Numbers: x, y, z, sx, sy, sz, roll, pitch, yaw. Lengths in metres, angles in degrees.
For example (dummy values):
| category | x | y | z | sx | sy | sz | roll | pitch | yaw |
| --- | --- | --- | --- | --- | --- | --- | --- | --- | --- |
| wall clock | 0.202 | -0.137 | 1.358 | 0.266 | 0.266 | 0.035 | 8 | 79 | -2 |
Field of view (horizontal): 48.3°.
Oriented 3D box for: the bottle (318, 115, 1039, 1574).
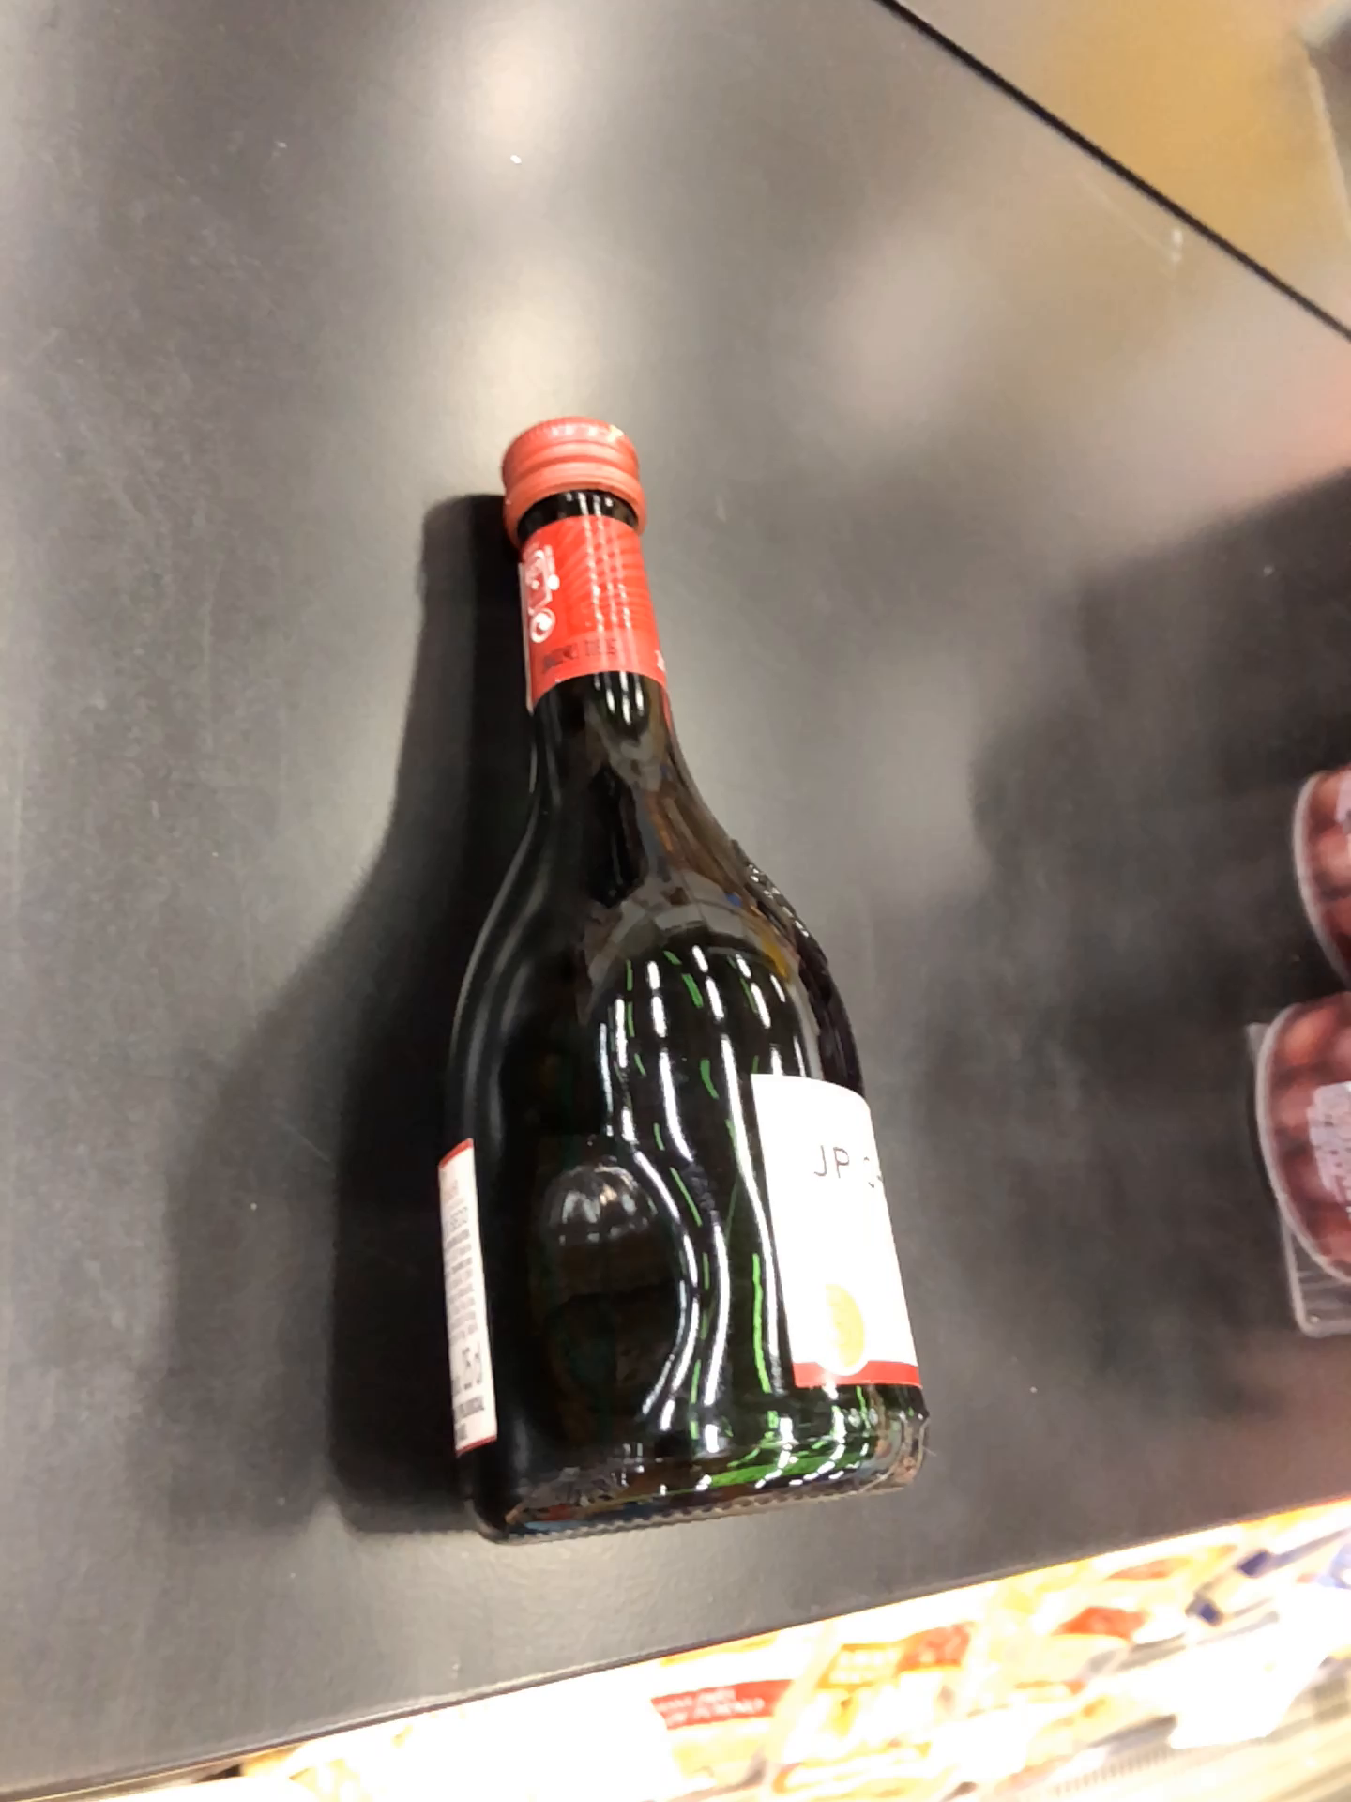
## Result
| category | x | y | z | sx | sy | sz | roll | pitch | yaw |
| --- | --- | --- | --- | --- | --- | --- | --- | --- | --- |
| bottle | -0.008 | -0.009 | 0.234 | 0.070 | 0.060 | 0.200 | 10 | 64 | -38 |
